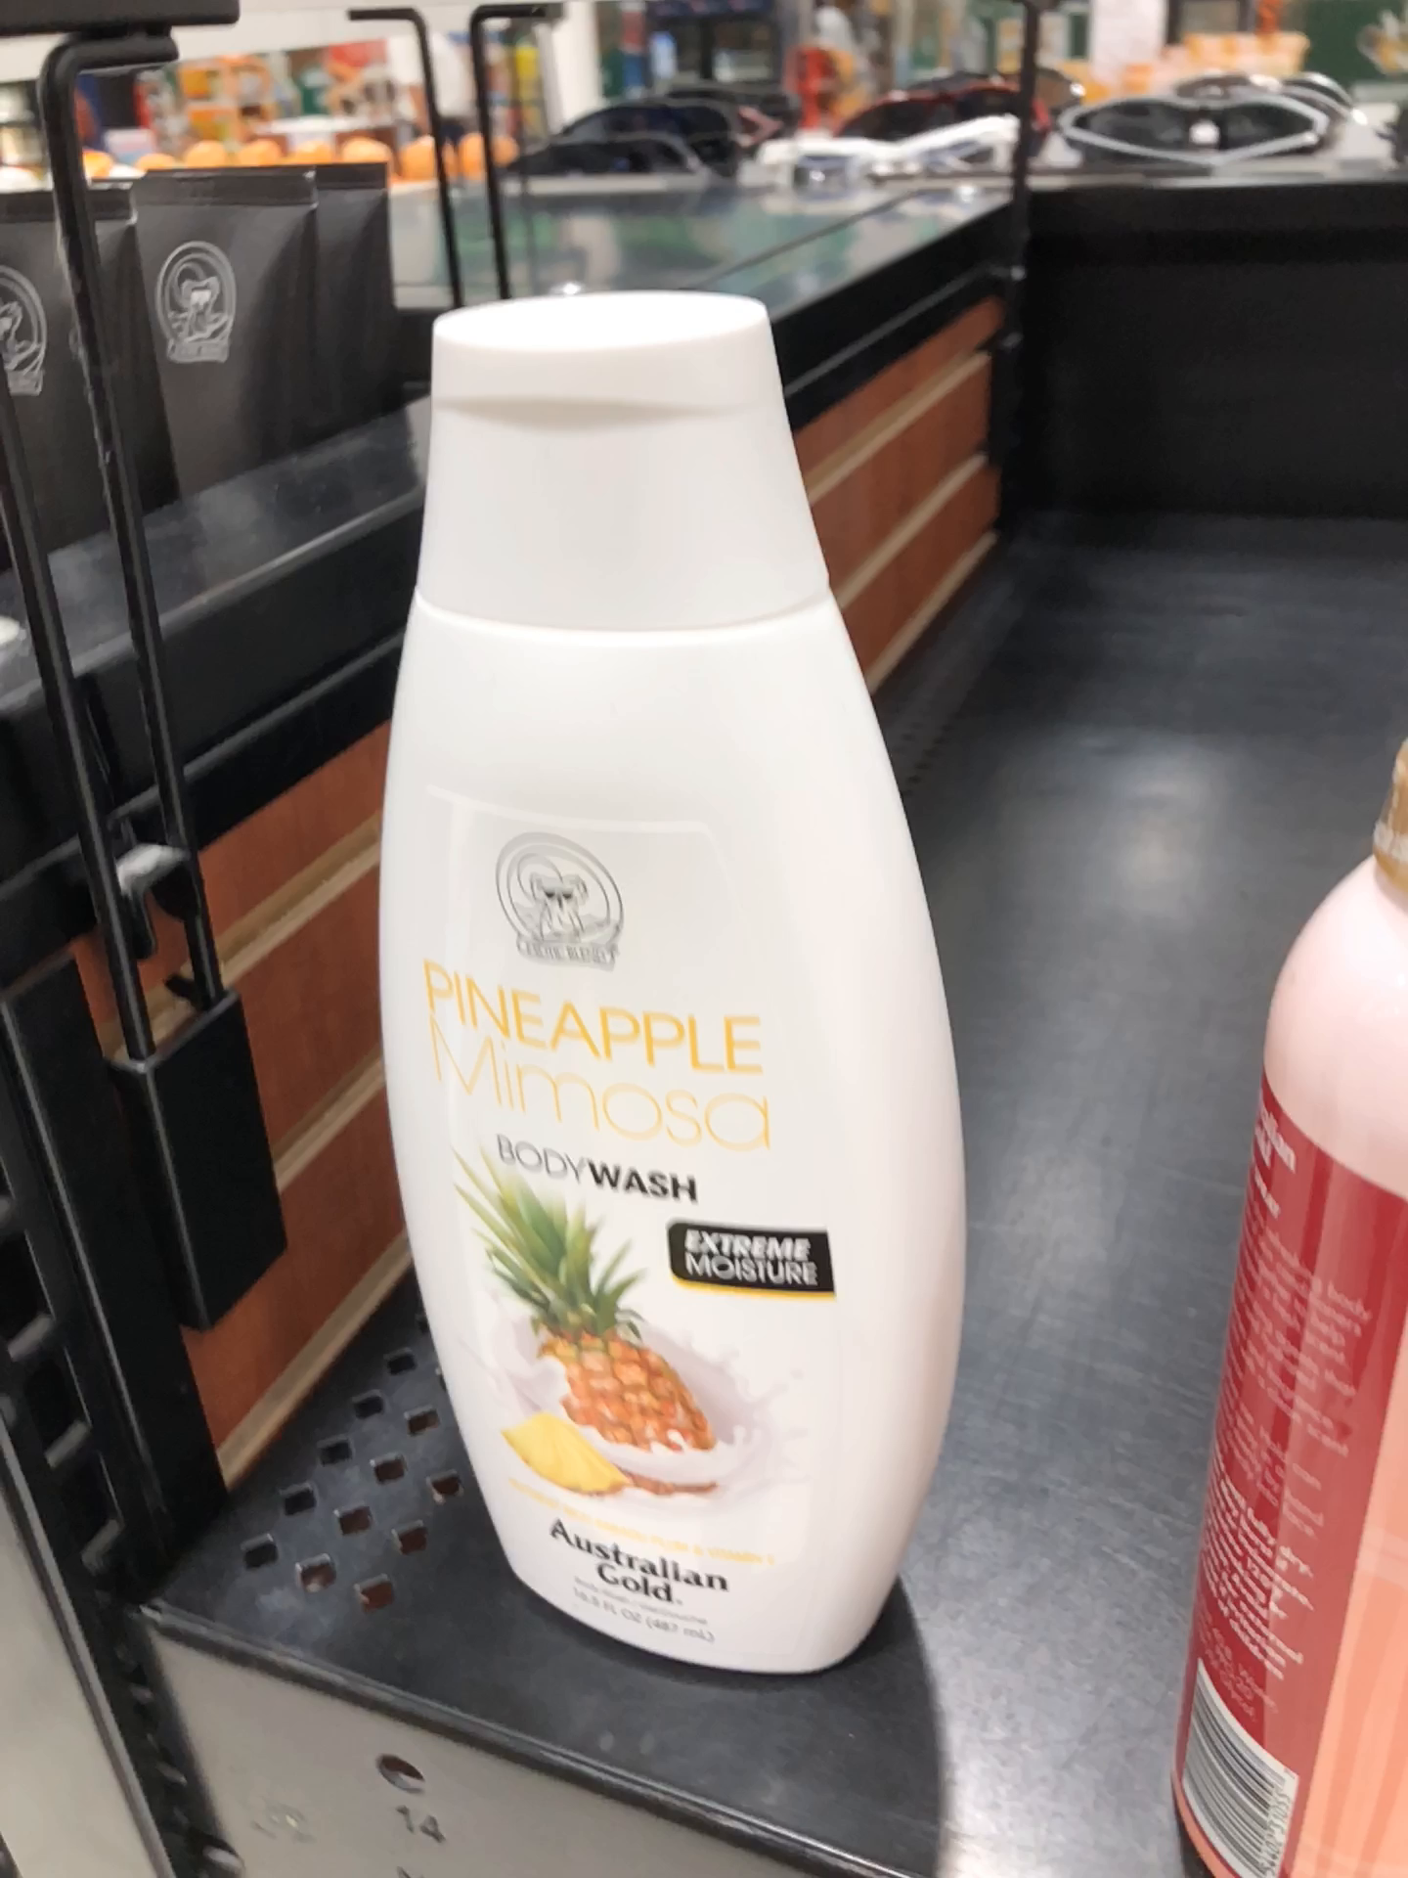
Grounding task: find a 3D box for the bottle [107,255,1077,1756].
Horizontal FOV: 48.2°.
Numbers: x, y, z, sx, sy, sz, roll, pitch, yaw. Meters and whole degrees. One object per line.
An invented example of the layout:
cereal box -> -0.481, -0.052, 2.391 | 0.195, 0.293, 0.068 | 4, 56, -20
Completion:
bottle -> -0.006, 0.016, 0.241 | 0.100, 0.214, 0.060 | 9, 32, 21
